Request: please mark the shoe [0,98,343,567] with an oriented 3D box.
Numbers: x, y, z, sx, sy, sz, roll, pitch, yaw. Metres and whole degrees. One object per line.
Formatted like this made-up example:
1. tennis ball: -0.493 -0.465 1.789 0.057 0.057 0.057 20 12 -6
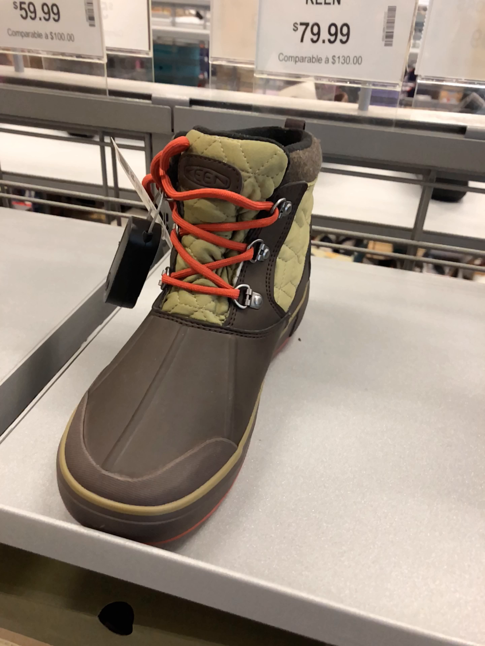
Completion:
1. shoe: -0.024 -0.030 0.314 0.107 0.139 0.262 12 34 13
